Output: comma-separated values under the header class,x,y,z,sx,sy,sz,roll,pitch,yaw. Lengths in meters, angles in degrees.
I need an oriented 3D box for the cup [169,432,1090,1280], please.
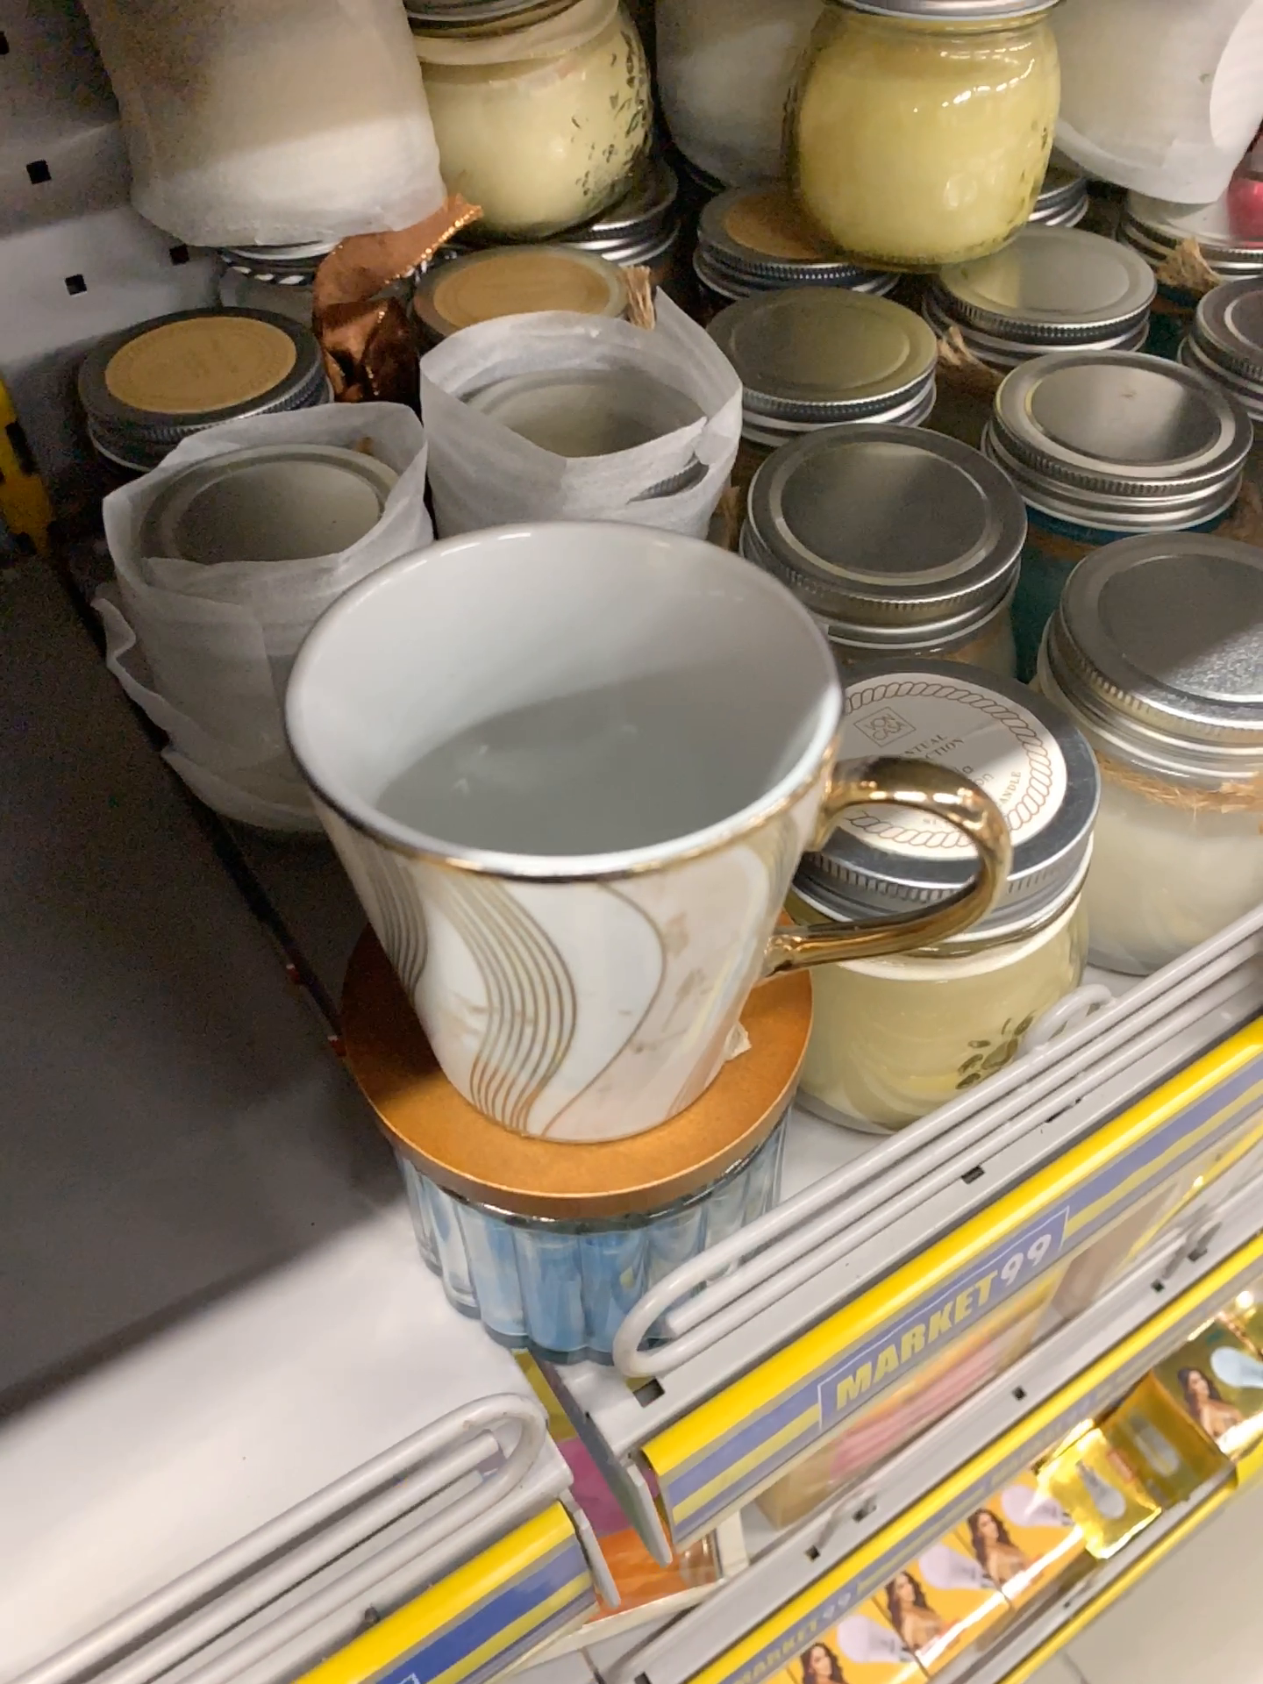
class,x,y,z,sx,sy,sz,roll,pitch,yaw
cup,0.005,0.000,0.174,0.090,0.070,0.070,10,49,10
